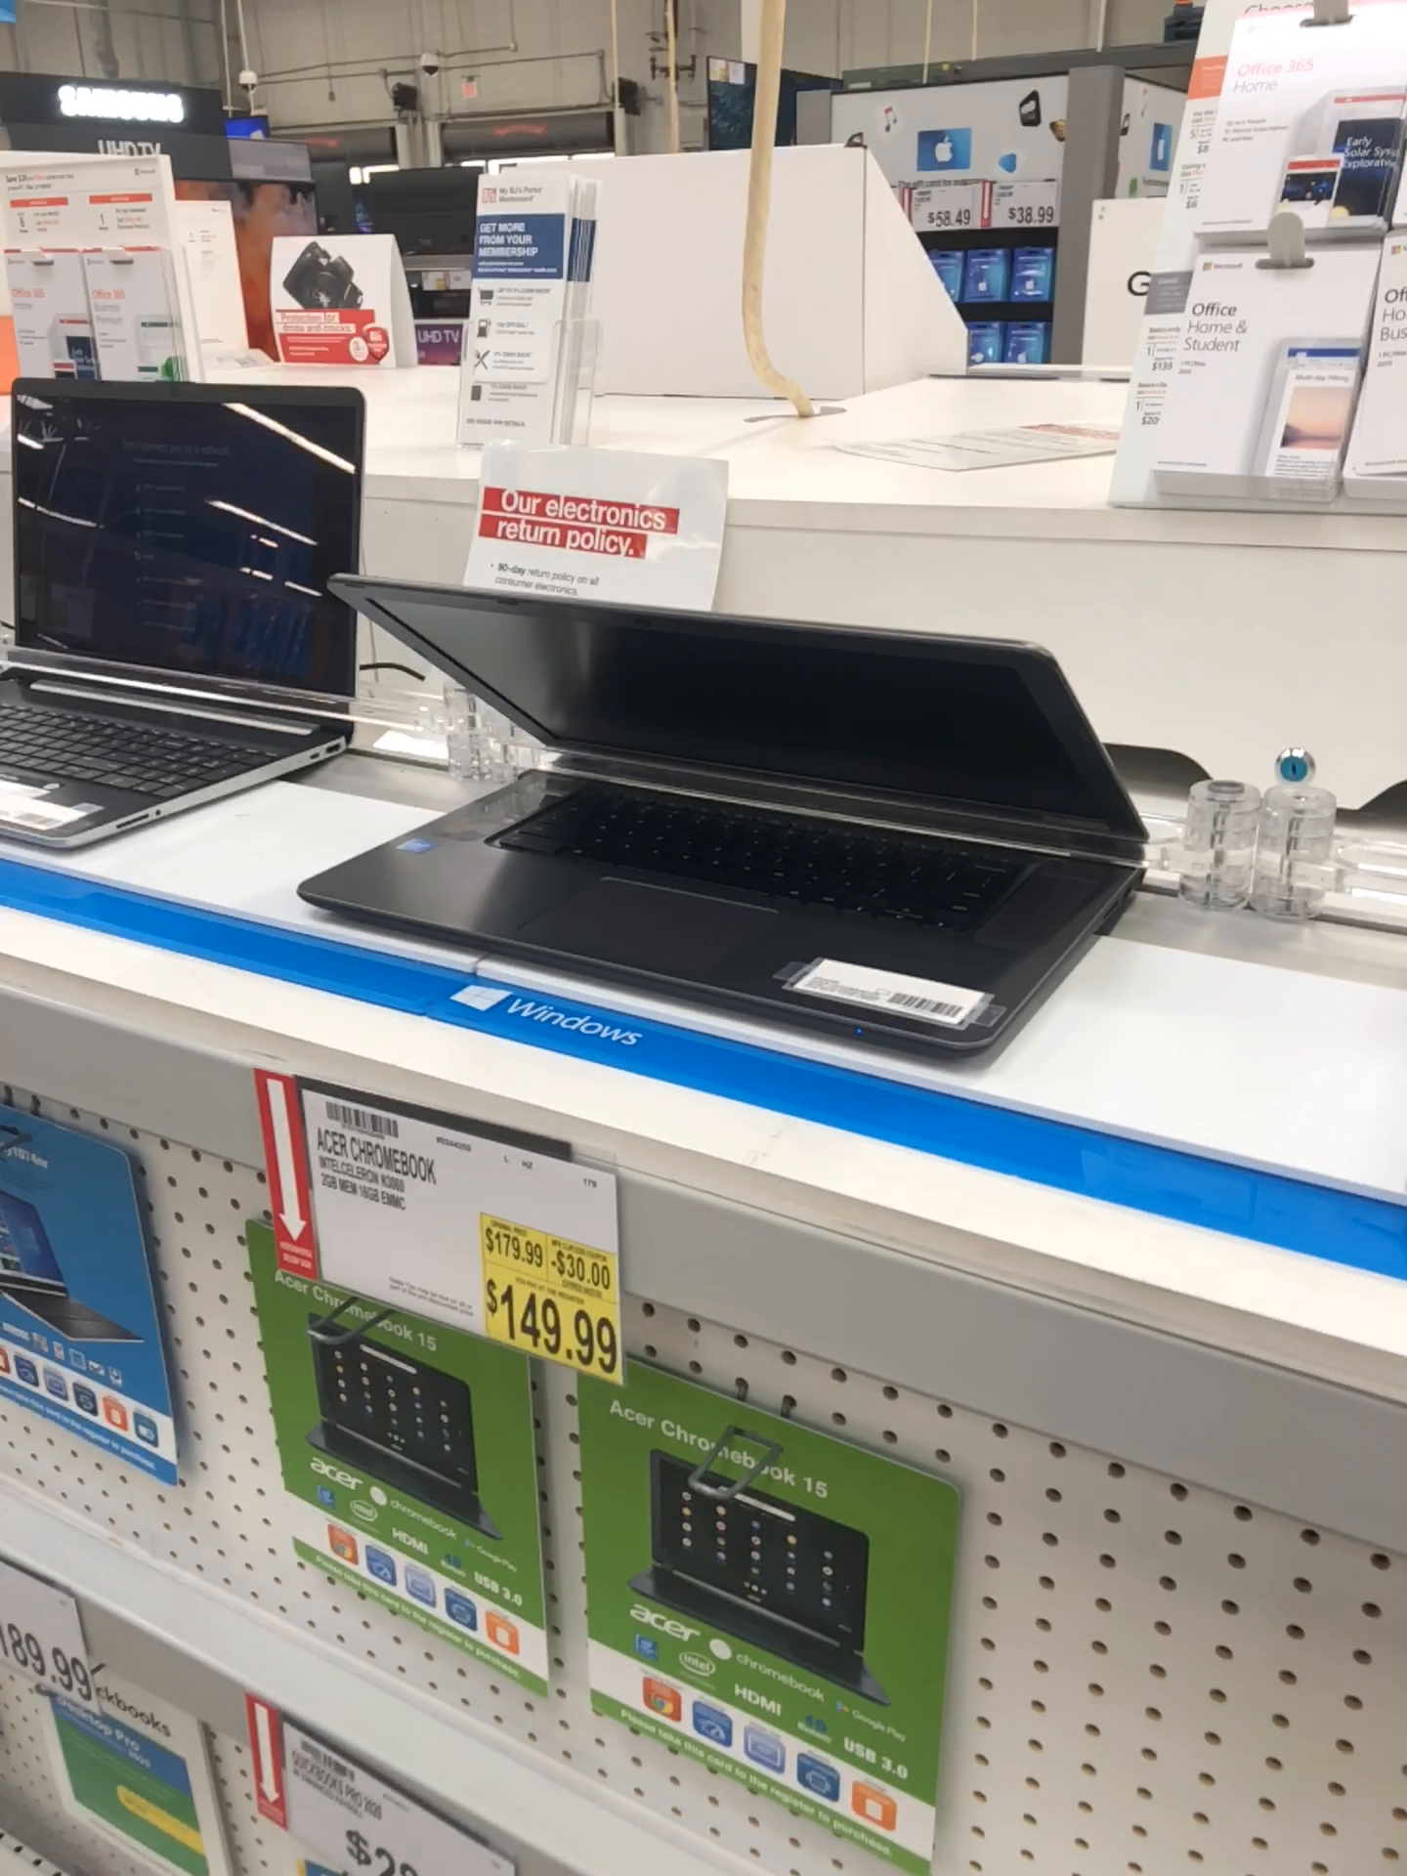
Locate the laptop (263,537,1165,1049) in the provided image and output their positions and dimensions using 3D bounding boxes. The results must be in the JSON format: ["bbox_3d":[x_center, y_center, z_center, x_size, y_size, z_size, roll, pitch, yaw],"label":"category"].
[{"bbox_3d":[0.005,-0.095,0.749,0.365,0.136,0.220,12,28,29],"label":"laptop"}]
